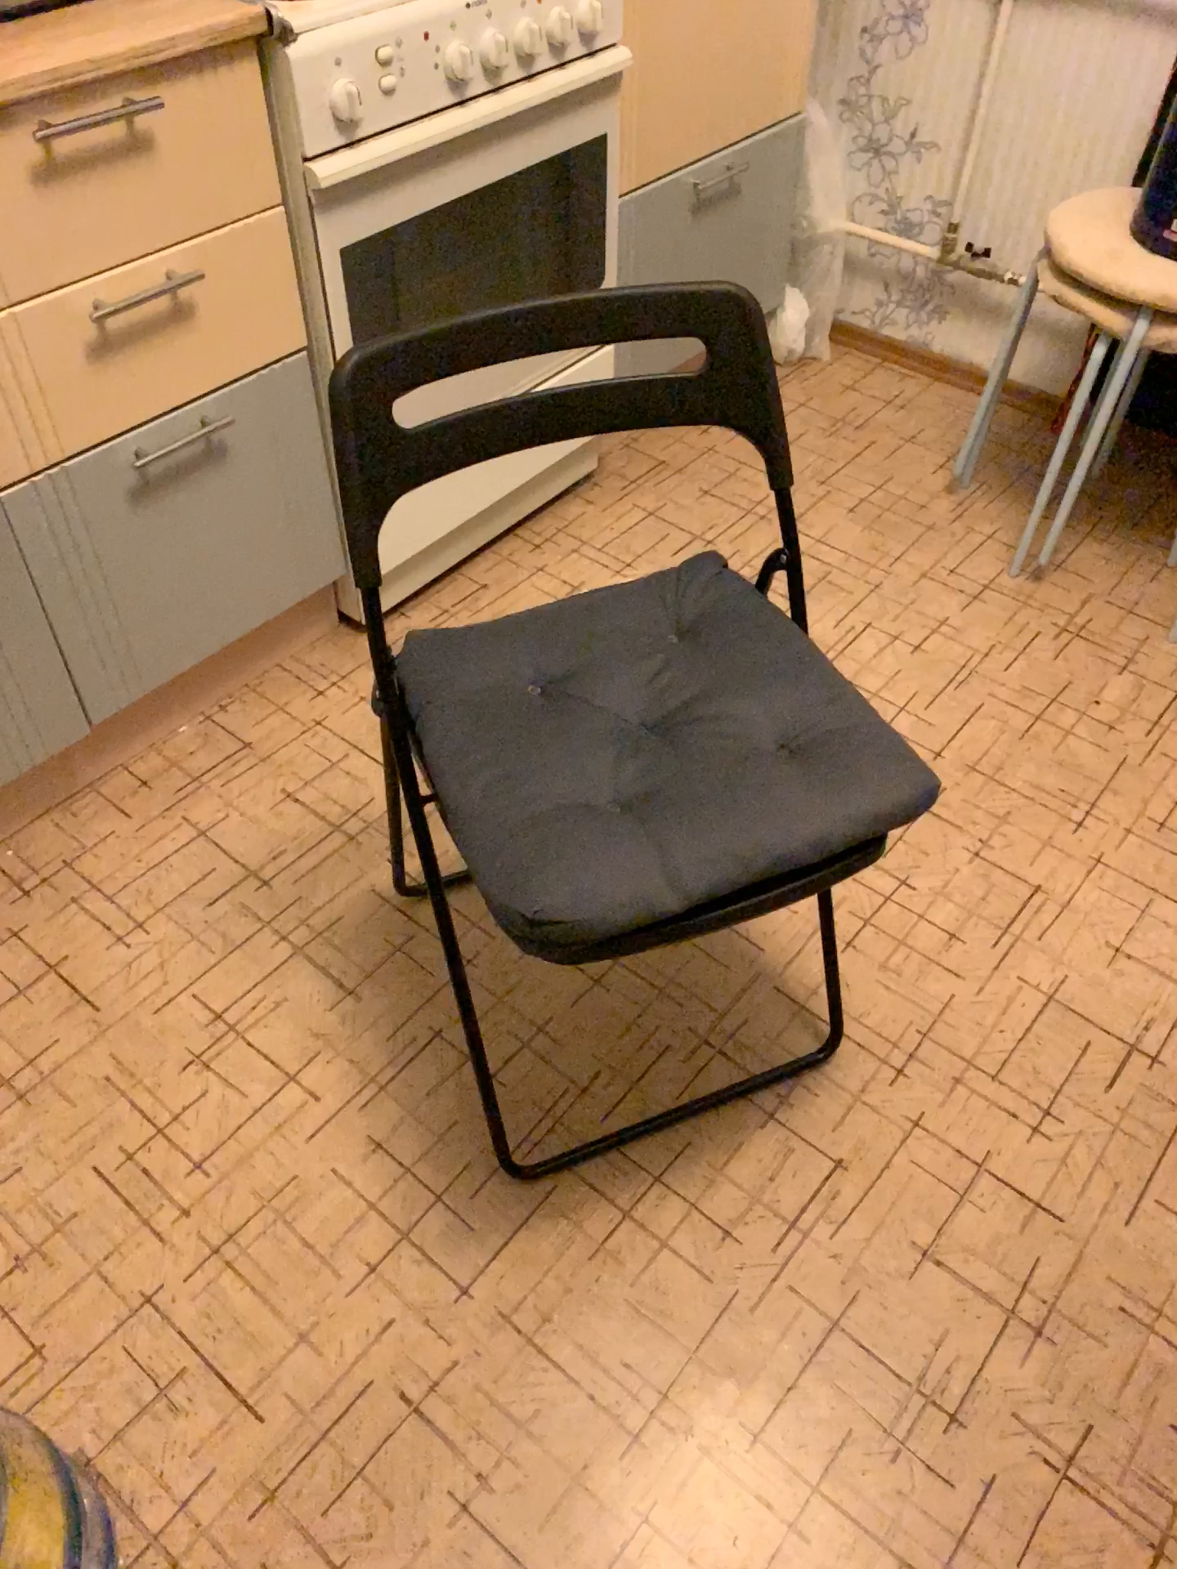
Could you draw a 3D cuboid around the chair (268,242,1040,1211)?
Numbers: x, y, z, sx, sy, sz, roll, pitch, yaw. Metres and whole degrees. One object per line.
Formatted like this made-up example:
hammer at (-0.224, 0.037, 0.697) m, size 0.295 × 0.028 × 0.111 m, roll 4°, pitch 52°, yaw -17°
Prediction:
chair at (0.020, -0.034, 1.229) m, size 0.441 × 0.776 × 0.482 m, roll -18°, pitch 49°, yaw -17°
